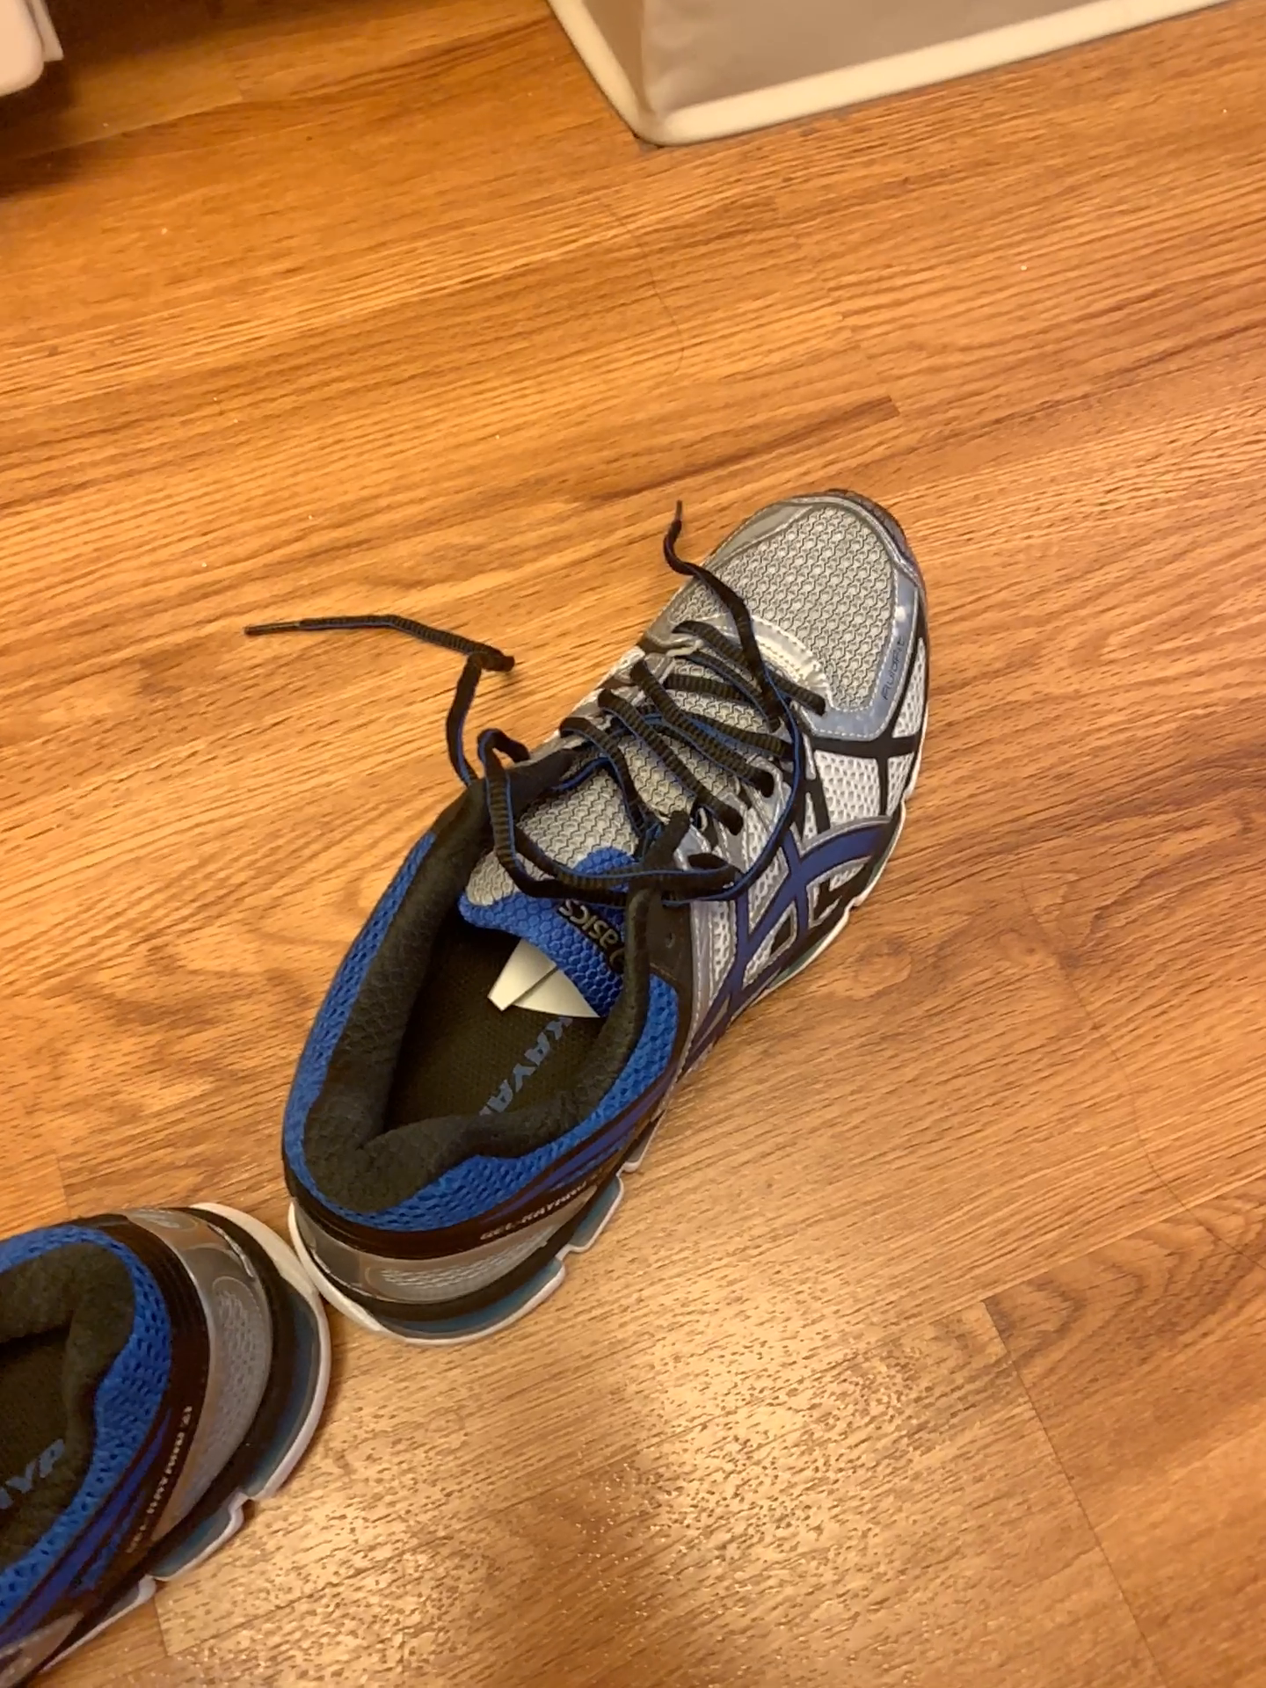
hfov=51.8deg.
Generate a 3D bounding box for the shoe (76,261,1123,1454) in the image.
[{"bbox_3d":[0.009,-0.006,0.396,0.120,0.110,0.330,29,70,12],"label":"shoe"}]

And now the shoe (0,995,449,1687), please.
[{"bbox_3d":[-0.206,0.191,0.300,0.300,0.120,0.120,-39,72,-15],"label":"shoe"}]
